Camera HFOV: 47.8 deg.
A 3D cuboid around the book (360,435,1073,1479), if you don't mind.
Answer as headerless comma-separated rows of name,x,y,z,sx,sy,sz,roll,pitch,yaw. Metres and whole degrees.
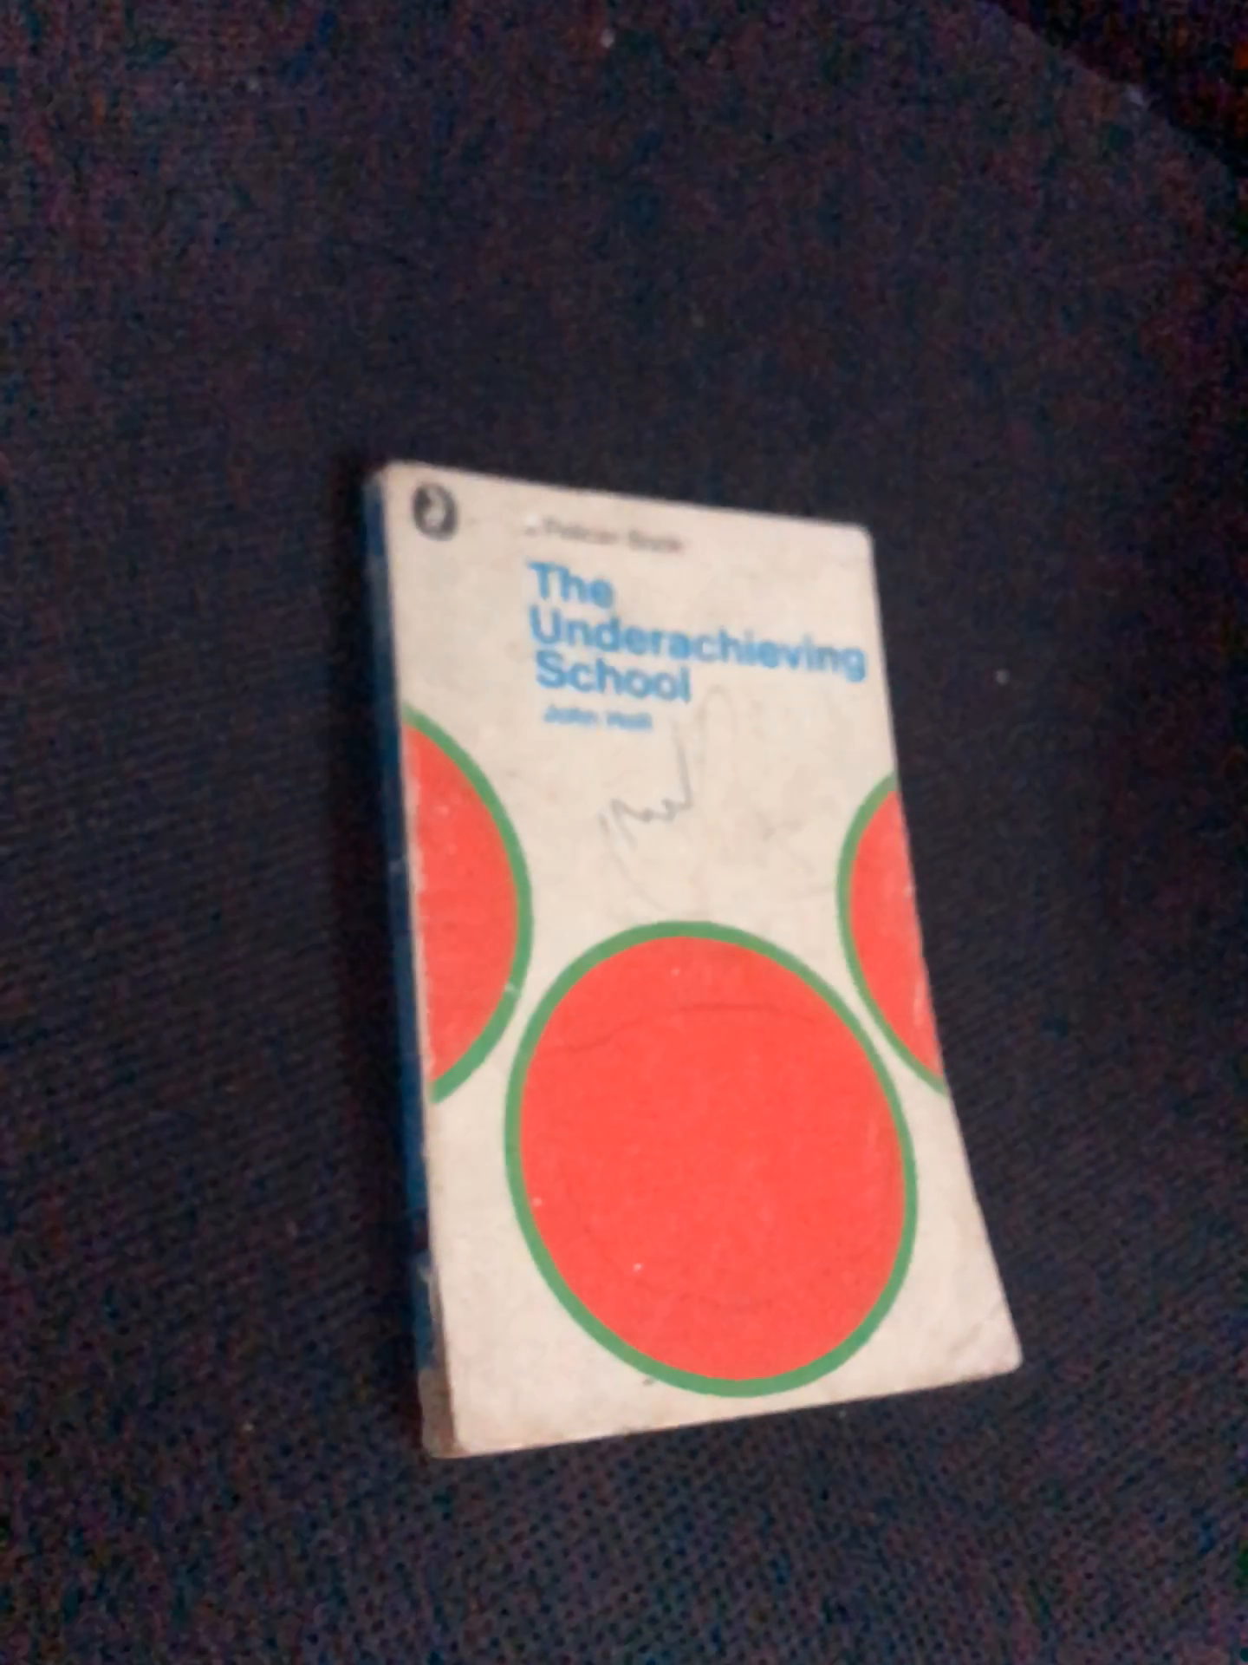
book,0.015,0.016,0.272,0.120,0.020,0.182,3,69,-26
